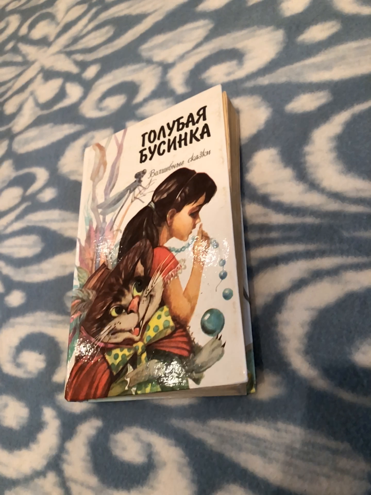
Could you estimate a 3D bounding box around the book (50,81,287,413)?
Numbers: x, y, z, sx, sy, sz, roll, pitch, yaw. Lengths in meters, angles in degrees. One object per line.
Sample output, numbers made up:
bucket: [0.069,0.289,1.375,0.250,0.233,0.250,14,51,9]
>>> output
book: [-0.019,0.002,0.294,0.145,0.040,0.206,-16,61,28]
